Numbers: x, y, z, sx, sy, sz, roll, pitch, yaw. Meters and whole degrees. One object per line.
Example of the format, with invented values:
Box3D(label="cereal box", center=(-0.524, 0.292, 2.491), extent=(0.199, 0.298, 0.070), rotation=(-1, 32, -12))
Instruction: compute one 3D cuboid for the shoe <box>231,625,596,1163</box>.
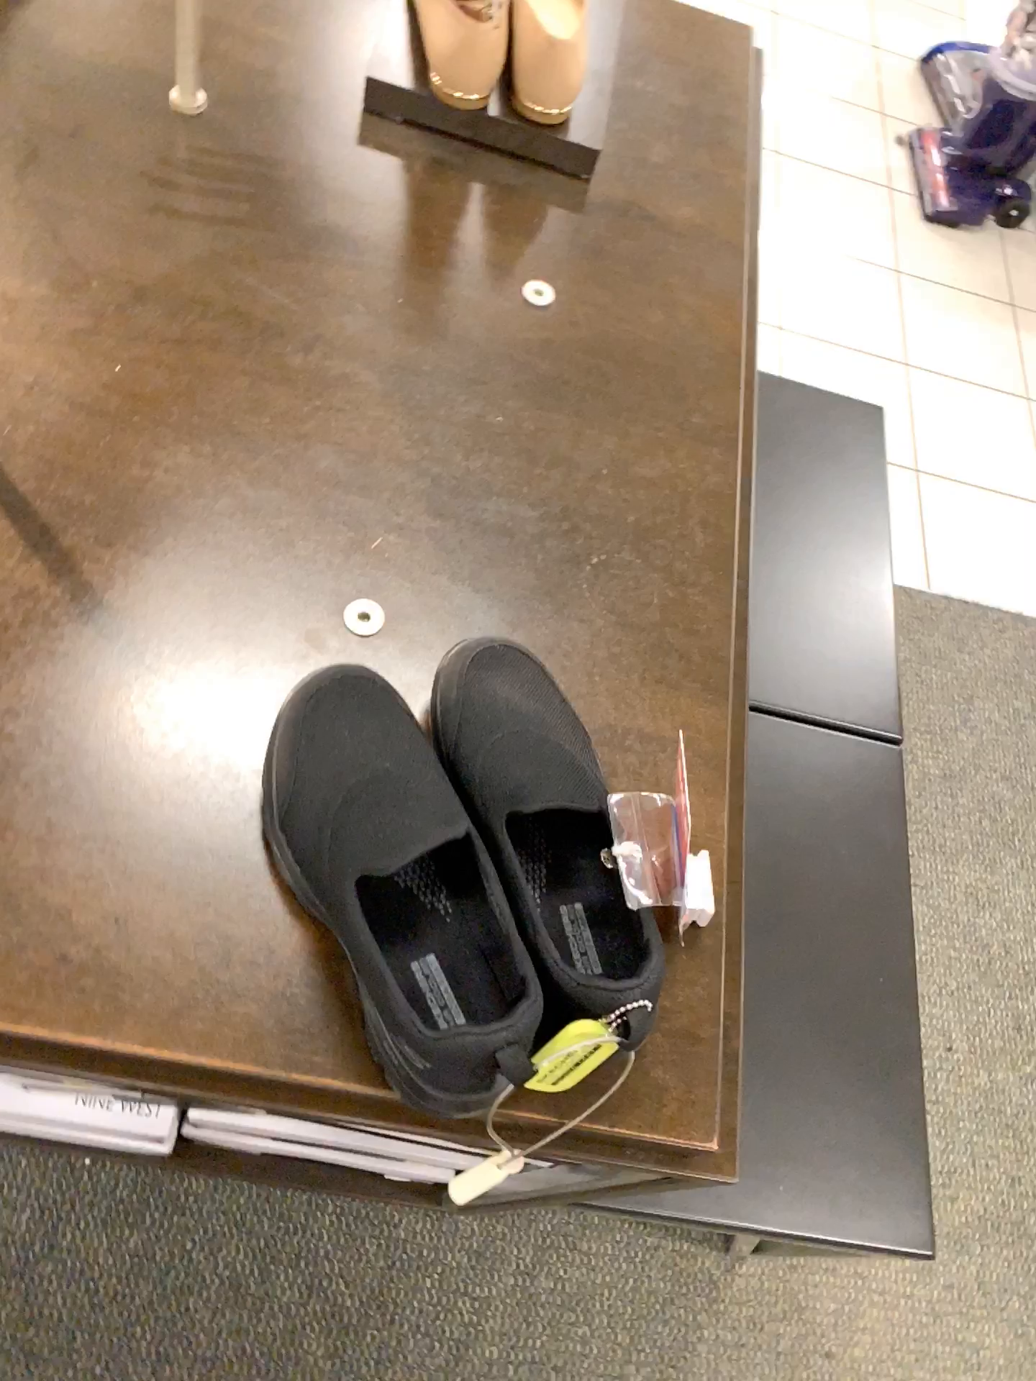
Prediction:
Box3D(label="shoe", center=(-0.068, 0.106, 0.566), extent=(0.094, 0.110, 0.244), rotation=(-17, 69, -23))

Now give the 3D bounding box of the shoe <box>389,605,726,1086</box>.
Box3D(label="shoe", center=(0.011, 0.084, 0.597), extent=(0.094, 0.110, 0.230), rotation=(-11, 66, -20))
